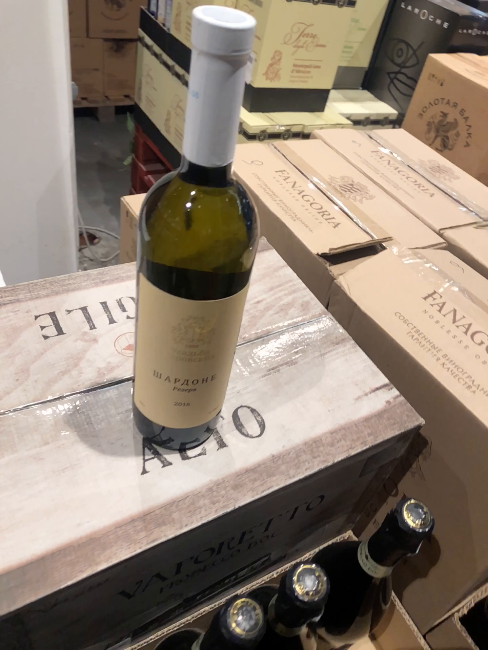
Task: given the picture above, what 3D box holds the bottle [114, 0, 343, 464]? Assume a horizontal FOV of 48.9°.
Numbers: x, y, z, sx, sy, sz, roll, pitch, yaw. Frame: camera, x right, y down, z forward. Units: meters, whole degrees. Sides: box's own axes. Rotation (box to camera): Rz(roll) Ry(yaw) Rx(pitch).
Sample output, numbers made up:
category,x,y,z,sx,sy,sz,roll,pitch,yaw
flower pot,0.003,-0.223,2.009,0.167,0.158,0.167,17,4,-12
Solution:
category,x,y,z,sx,sy,sz,roll,pitch,yaw
bottle,-0.030,-0.030,0.344,0.090,0.298,0.081,5,43,-9
